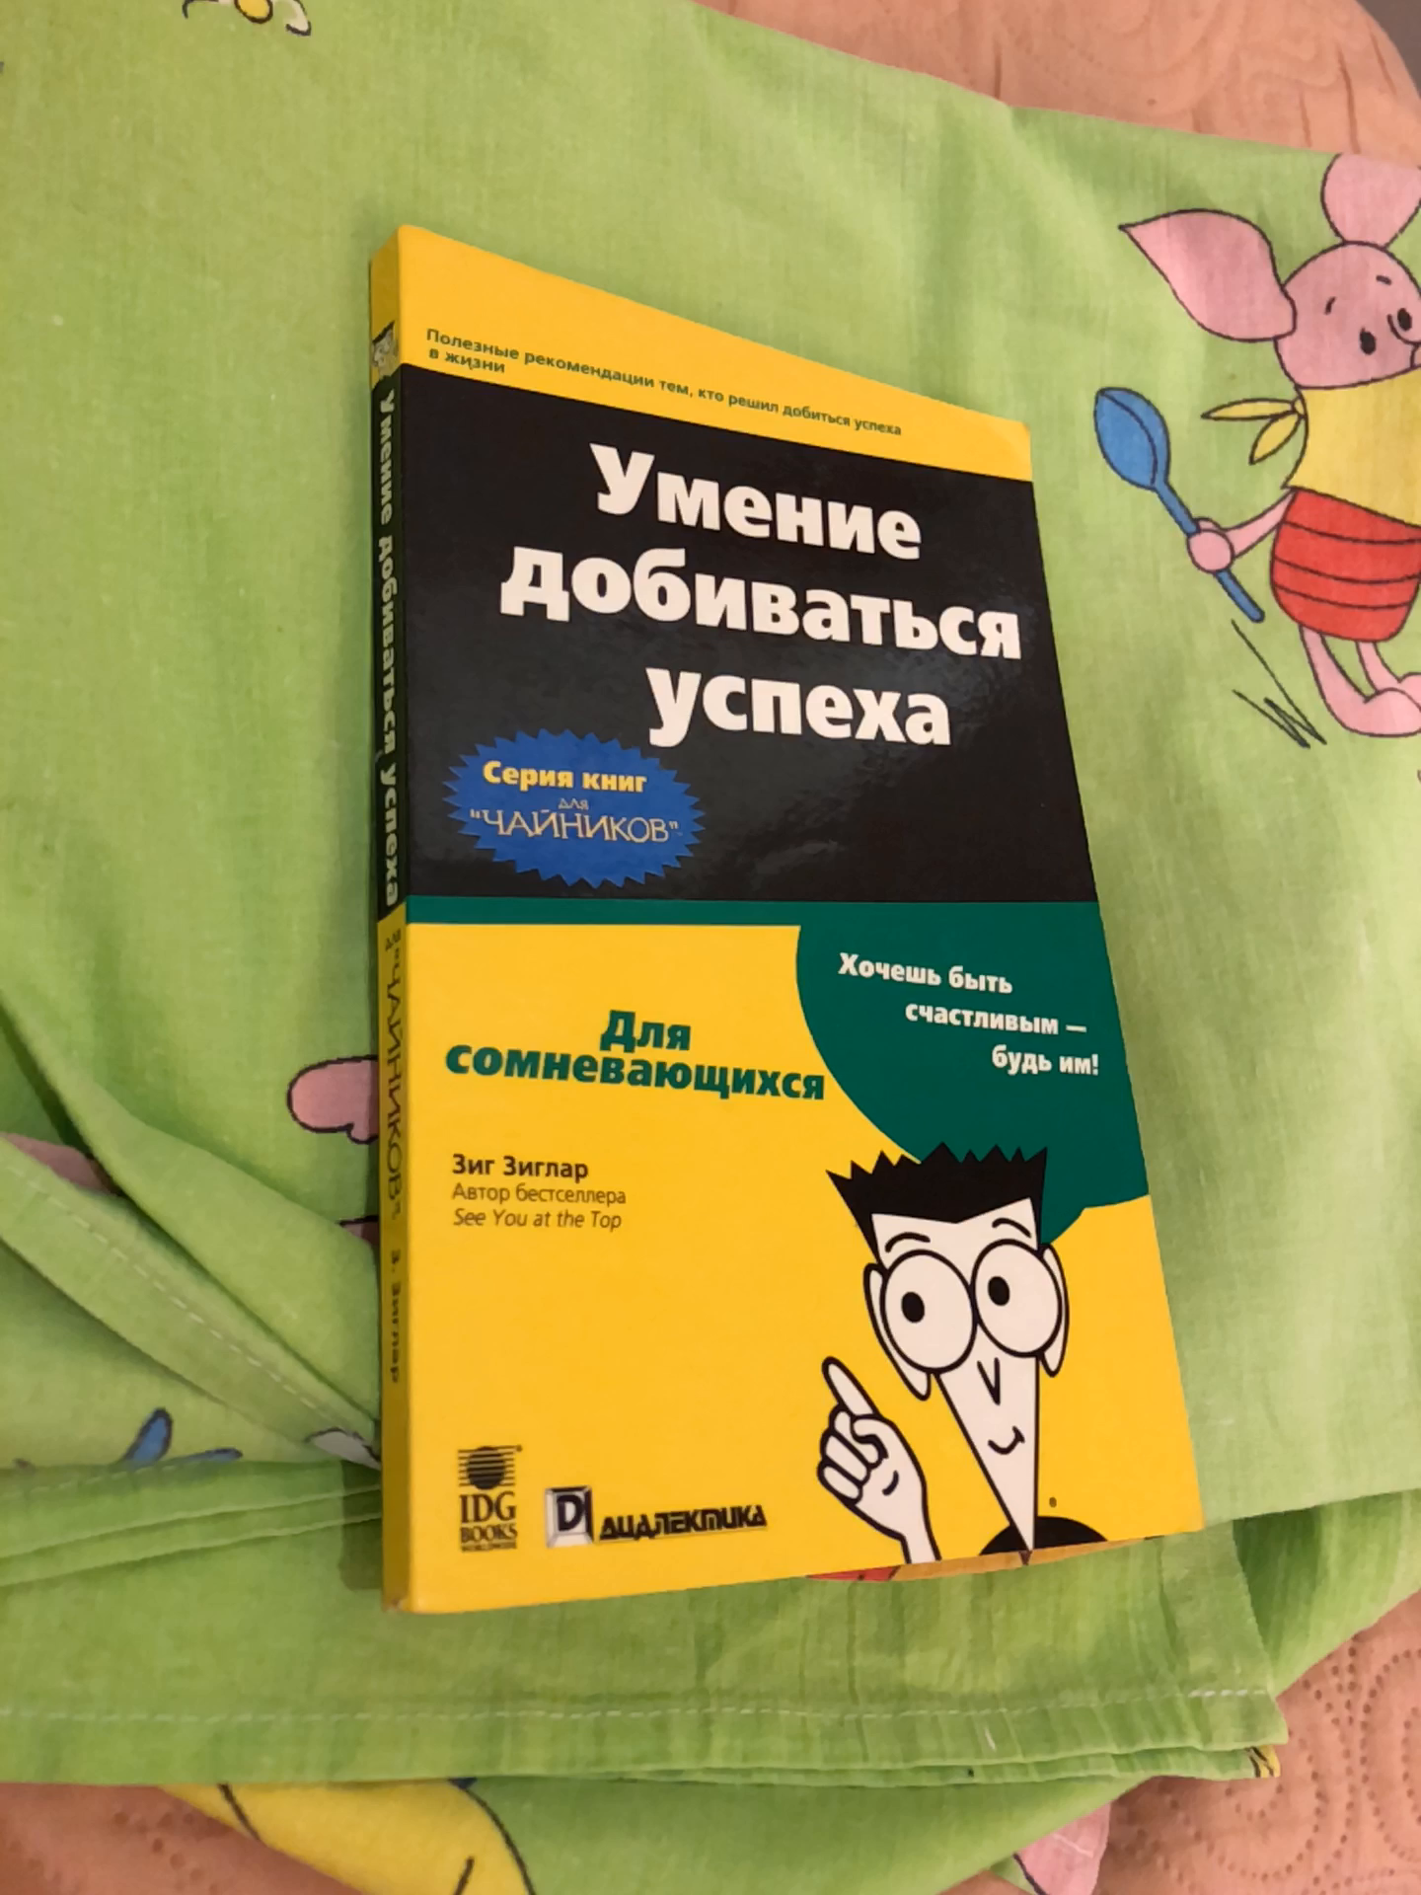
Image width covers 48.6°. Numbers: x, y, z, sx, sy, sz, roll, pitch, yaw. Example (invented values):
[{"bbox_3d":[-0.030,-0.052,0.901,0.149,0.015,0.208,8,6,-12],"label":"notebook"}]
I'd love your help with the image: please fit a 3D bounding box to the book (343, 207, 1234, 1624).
[{"bbox_3d":[0.010,-0.010,0.234,0.125,0.015,0.191,7,68,-28],"label":"book"}]
